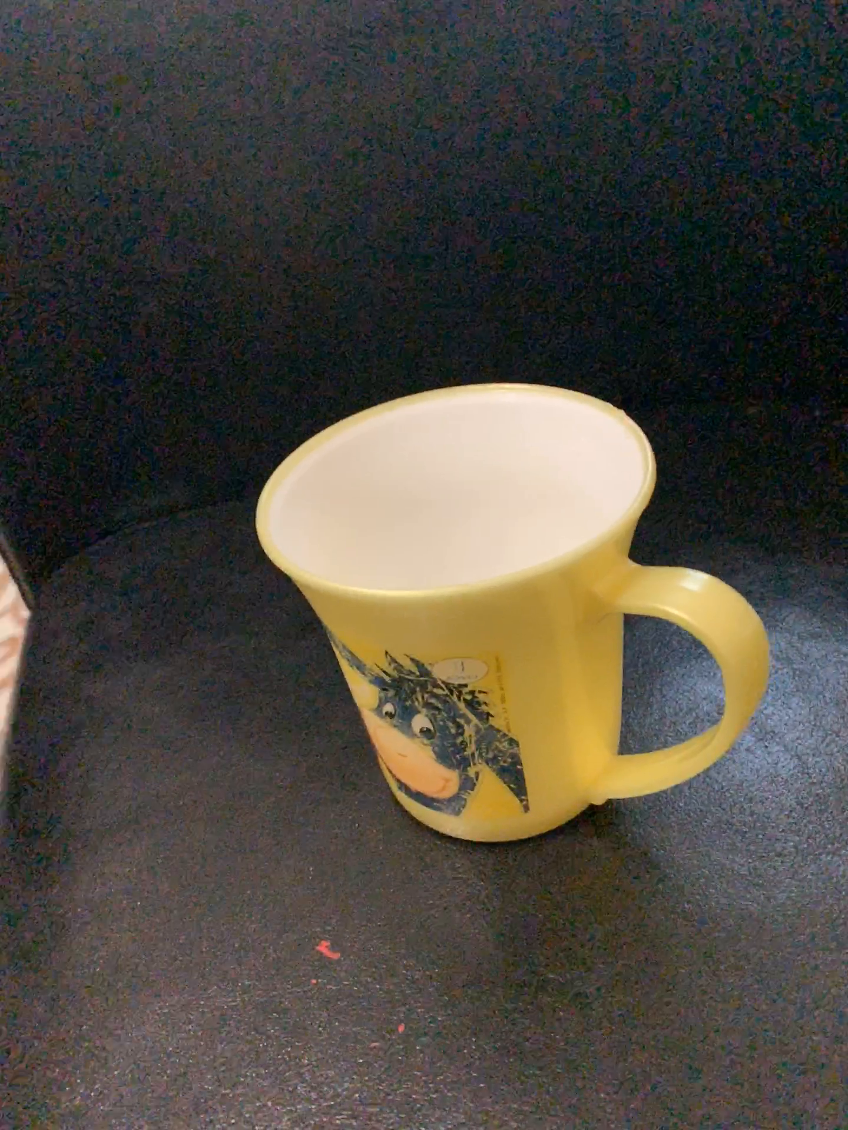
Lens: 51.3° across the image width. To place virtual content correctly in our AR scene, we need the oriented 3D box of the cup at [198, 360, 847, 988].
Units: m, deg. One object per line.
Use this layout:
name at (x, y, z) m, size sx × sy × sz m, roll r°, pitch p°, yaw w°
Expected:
cup at (0.031, 0.012, 0.210) m, size 0.120 × 0.080 × 0.090 m, roll 15°, pitch 41°, yaw 33°
